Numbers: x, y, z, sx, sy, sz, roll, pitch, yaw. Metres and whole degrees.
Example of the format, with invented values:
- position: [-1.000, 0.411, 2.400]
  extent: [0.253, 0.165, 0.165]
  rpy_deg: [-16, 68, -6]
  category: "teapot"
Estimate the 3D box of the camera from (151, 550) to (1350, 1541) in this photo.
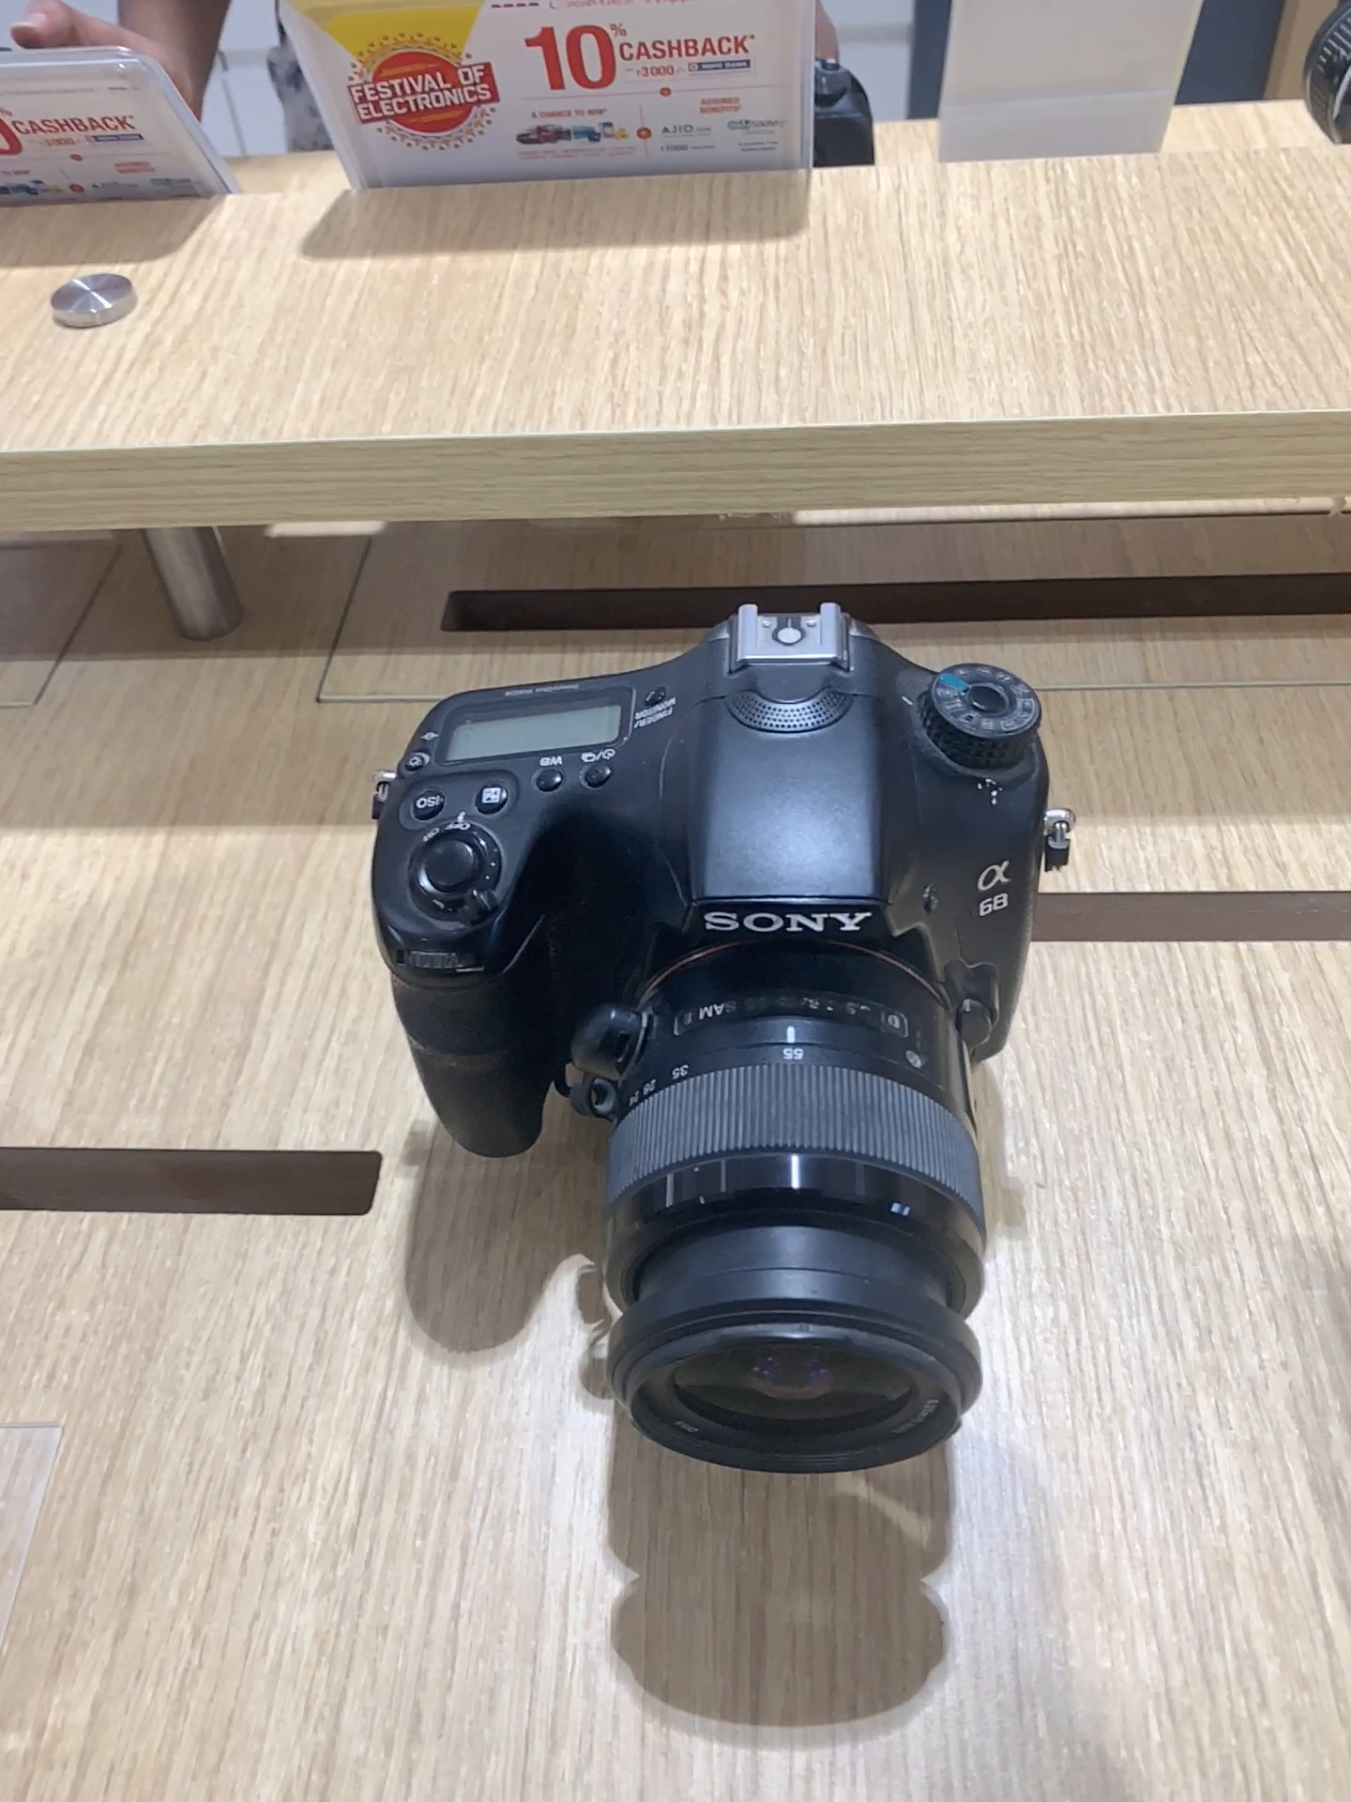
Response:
- position: [0.014, 0.022, 0.261]
  extent: [0.150, 0.100, 0.150]
  rpy_deg: [0, 48, 5]
  category: "camera"
